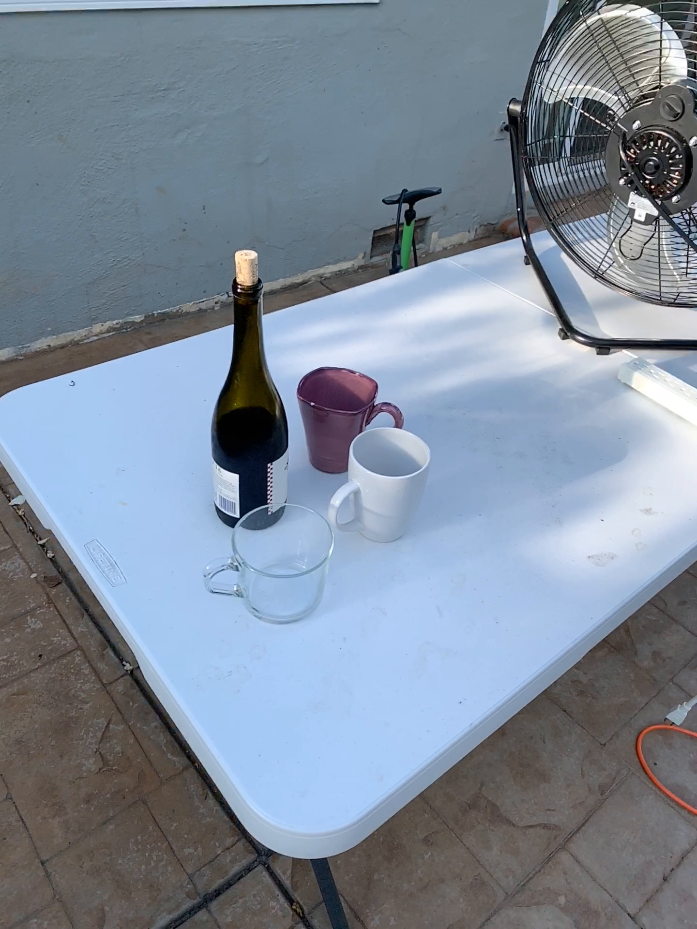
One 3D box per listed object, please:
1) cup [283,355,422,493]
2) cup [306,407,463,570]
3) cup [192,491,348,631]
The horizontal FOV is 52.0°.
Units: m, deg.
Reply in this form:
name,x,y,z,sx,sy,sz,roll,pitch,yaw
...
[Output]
name,x,y,z,sx,sy,sz,roll,pitch,yaw
cup,0.004,-0.053,0.890,0.140,0.099,0.100,18,40,16
cup,0.037,0.022,0.781,0.140,0.099,0.090,-27,48,-34
cup,-0.079,0.094,0.706,0.140,0.089,0.091,-3,39,-9
